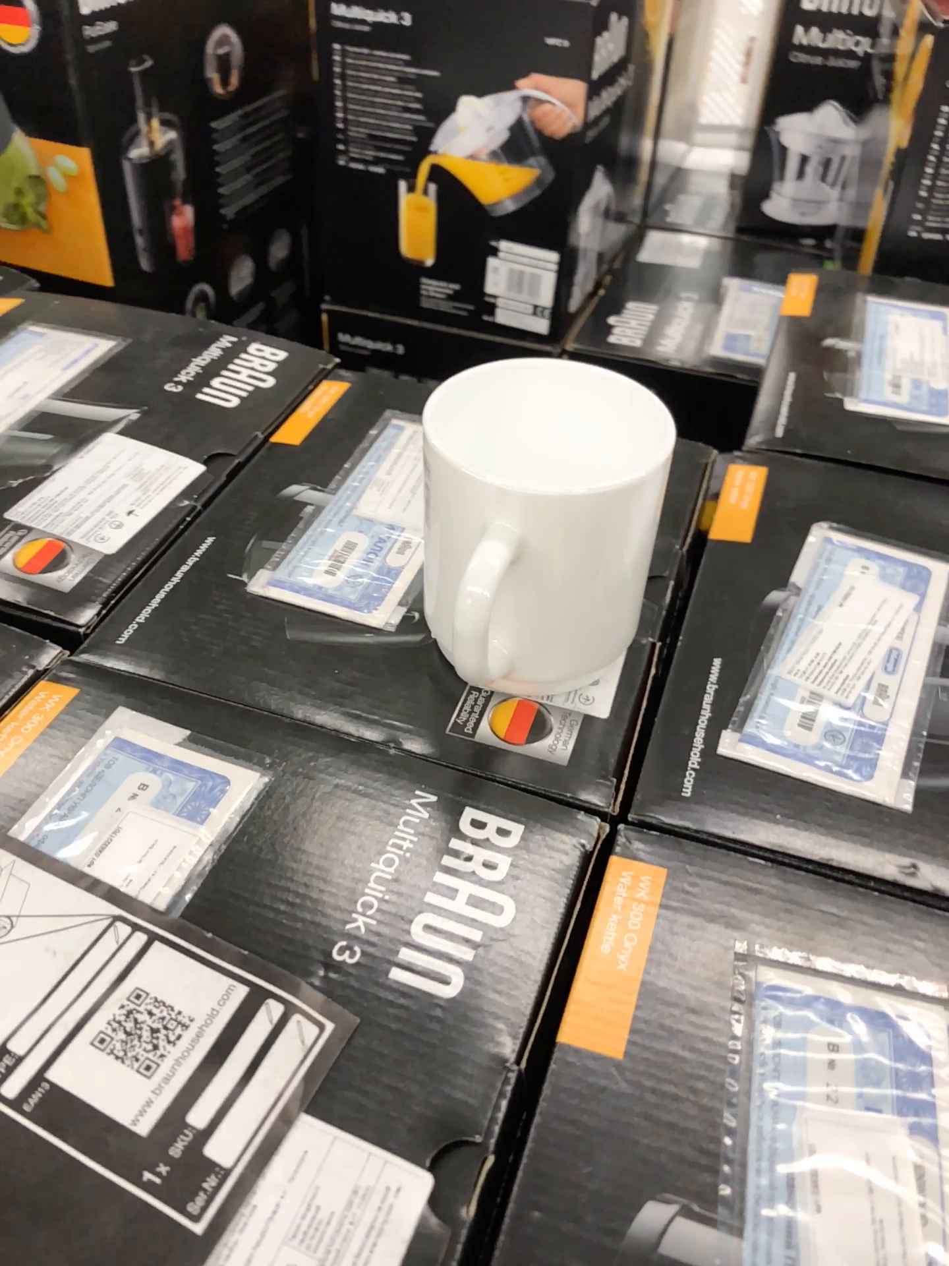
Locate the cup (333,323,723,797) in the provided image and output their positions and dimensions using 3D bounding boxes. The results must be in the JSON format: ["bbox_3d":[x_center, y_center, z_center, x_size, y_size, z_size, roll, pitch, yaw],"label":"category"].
[{"bbox_3d":[0.021,-0.028,0.345,0.082,0.091,0.111,16,46,18],"label":"cup"}]
